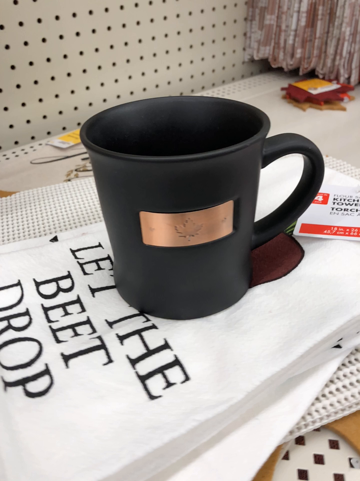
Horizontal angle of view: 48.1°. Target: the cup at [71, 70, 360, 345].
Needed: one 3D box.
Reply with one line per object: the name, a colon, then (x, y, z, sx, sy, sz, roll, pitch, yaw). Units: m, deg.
cup: (0.018, -0.027, 0.248, 0.140, 0.110, 0.100, -11, 38, -10)
